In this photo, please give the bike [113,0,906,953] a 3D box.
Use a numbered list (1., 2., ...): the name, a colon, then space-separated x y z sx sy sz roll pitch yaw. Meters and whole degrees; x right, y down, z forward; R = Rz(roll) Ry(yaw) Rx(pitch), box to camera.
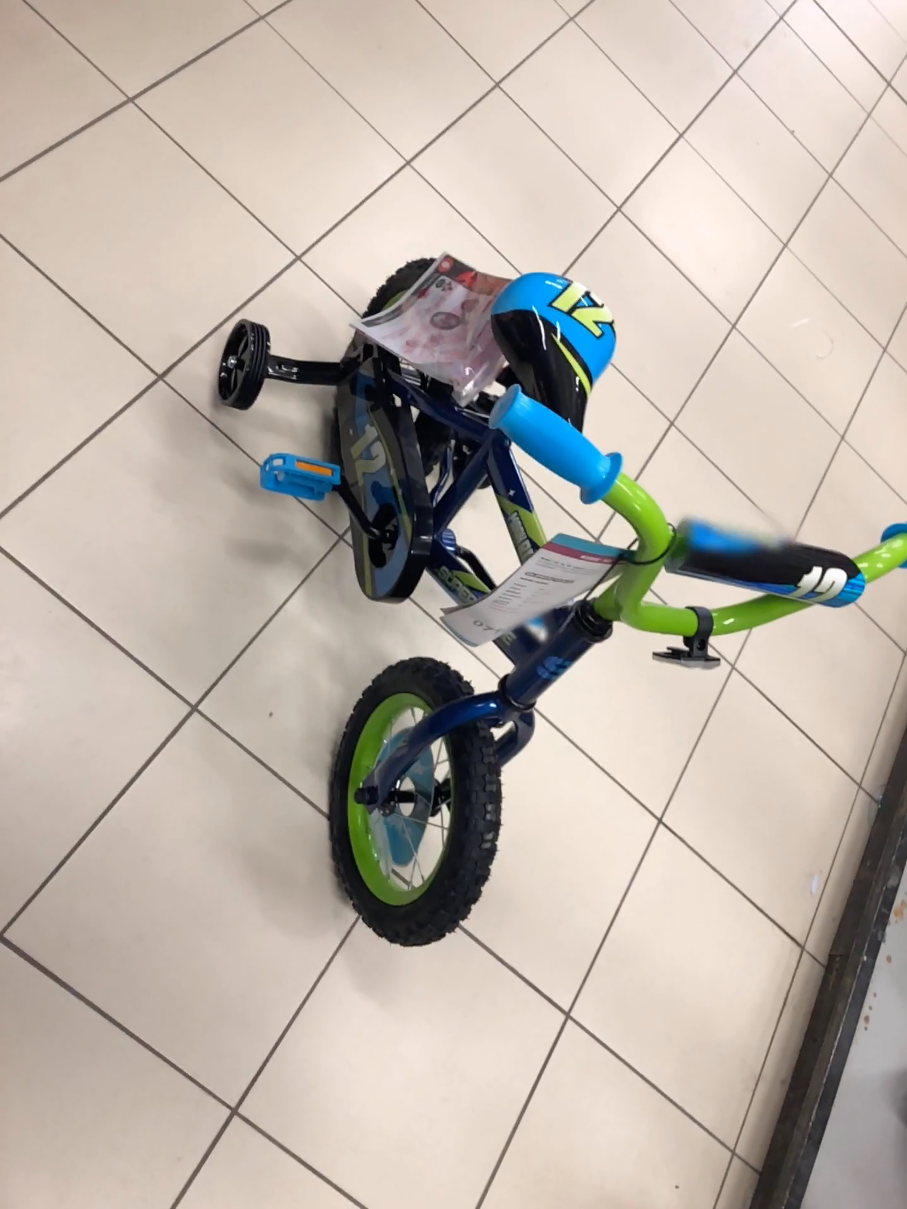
1. bike: 0.051 -0.099 0.982 0.549 0.676 0.795 8 69 -27
